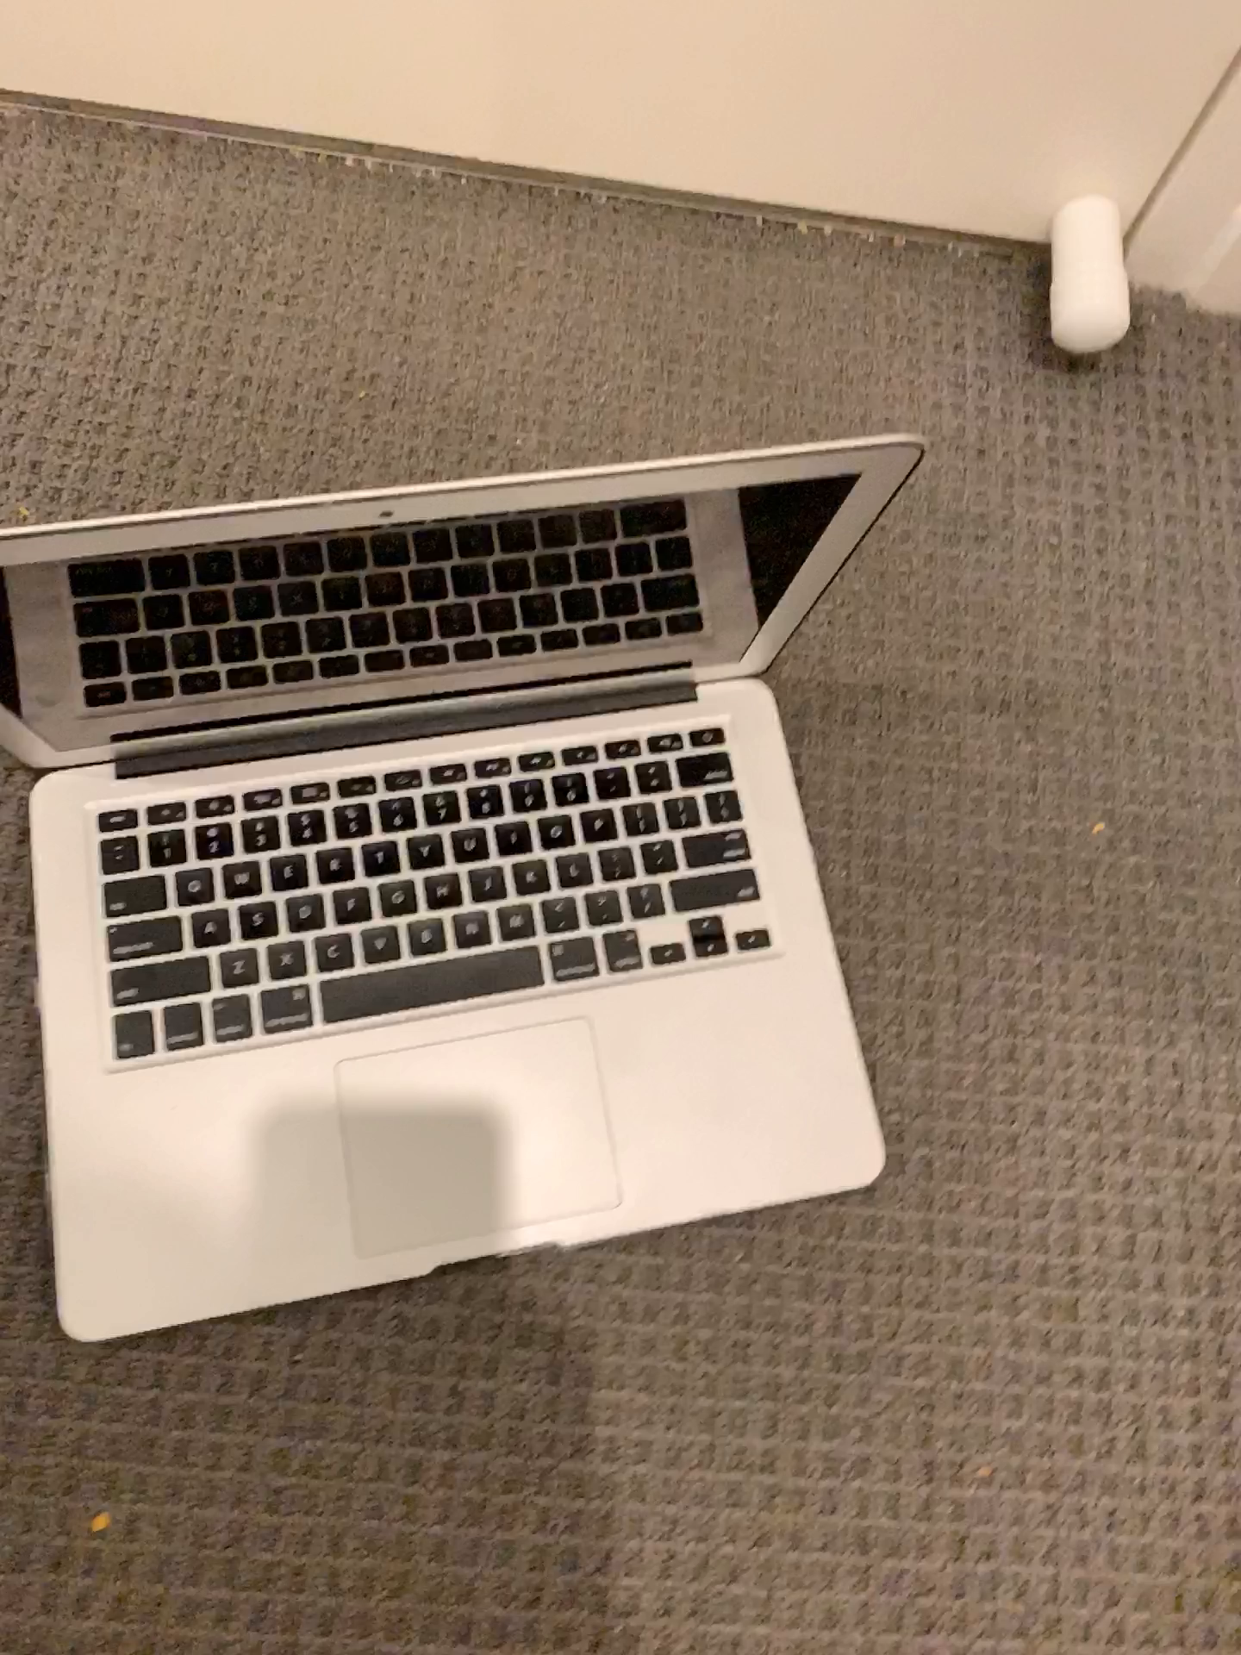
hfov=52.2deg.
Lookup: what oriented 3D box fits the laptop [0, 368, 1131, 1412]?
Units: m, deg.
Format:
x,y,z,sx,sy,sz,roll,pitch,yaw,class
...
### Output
x,y,z,sx,sy,sz,roll,pitch,yaw,class
-0.061,0.027,0.427,0.322,0.215,0.226,-9,73,-9,laptop
